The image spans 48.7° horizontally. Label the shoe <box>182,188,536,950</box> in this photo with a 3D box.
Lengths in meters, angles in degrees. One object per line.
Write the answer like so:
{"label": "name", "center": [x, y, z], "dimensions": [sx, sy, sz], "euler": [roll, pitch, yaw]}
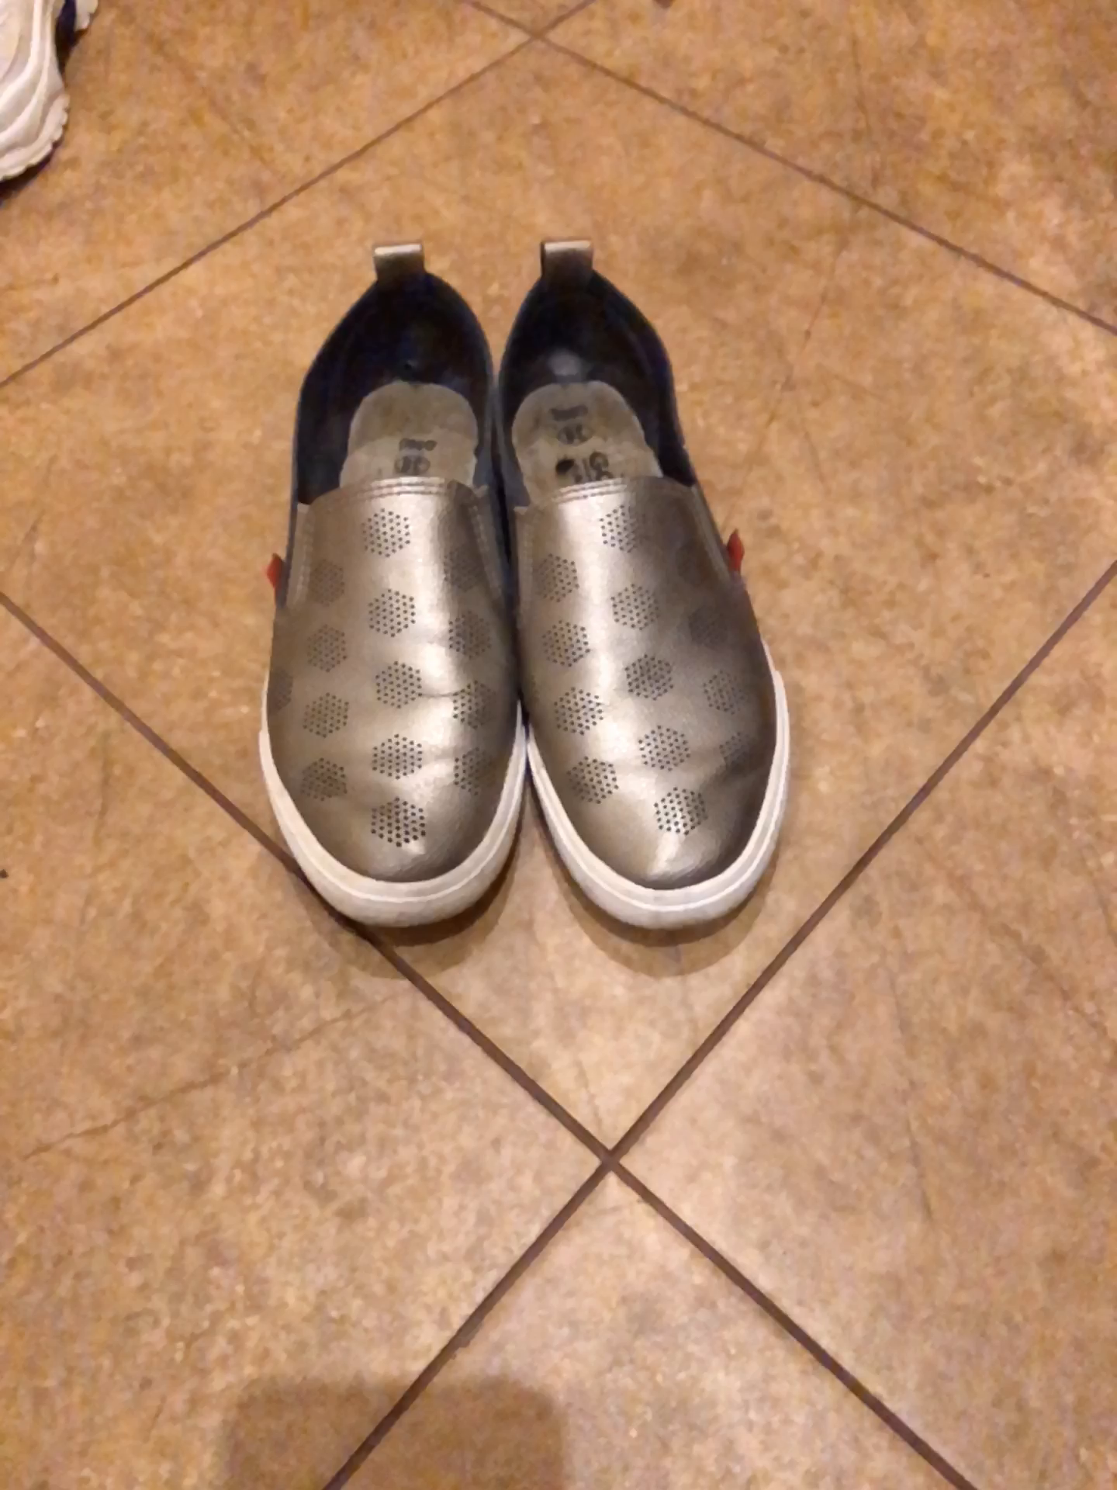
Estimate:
{"label": "shoe", "center": [-0.061, -0.068, 0.432], "dimensions": [0.090, 0.100, 0.251], "euler": [-3, 60, -1]}

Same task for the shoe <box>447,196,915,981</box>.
{"label": "shoe", "center": [0.028, -0.058, 0.425], "dimensions": [0.100, 0.109, 0.241], "euler": [-7, 60, -3]}
